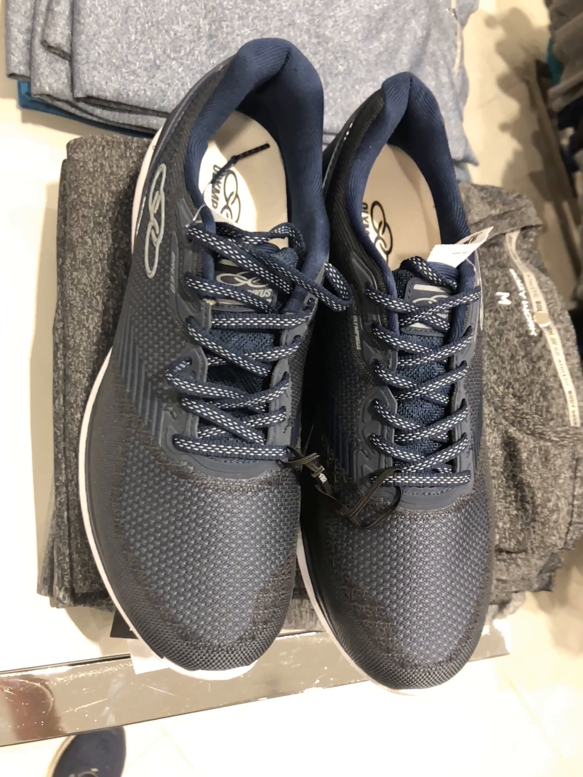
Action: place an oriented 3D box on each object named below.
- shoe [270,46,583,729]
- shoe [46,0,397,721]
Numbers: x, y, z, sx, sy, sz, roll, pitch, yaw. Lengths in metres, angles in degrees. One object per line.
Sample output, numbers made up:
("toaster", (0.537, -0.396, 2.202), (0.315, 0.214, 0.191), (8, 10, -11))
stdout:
("shoe", (0.057, -0.003, 0.343), (0.120, 0.130, 0.290), (-1, 82, -6))
("shoe", (-0.038, -0.020, 0.315), (0.120, 0.130, 0.290), (7, 79, -20))
